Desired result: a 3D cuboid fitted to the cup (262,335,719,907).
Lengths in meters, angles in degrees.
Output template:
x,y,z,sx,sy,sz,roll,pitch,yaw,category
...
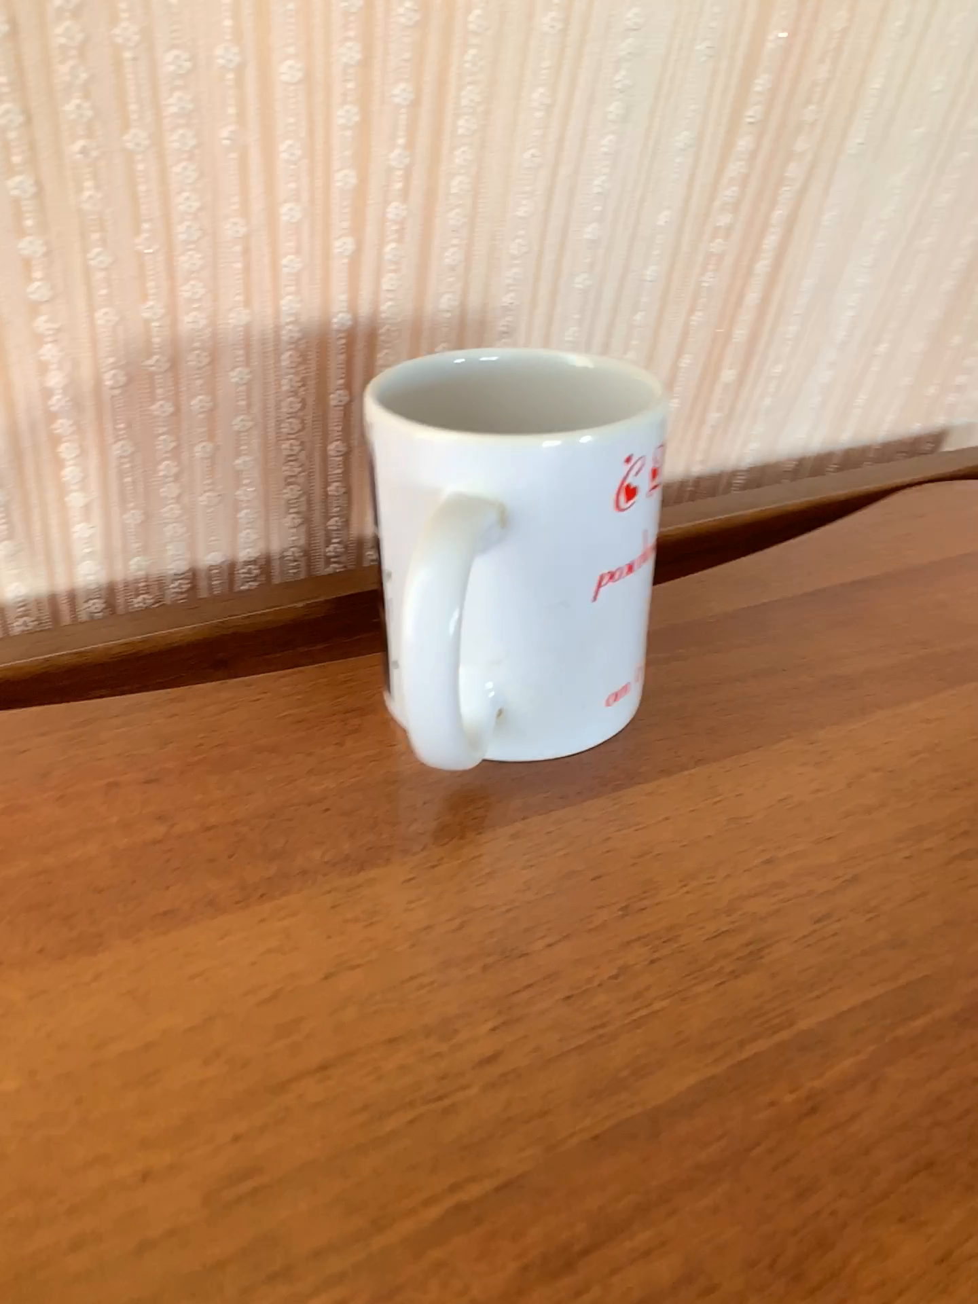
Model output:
x,y,z,sx,sy,sz,roll,pitch,yaw,category
0.009,-0.018,0.280,0.082,0.105,0.118,9,31,16,cup
